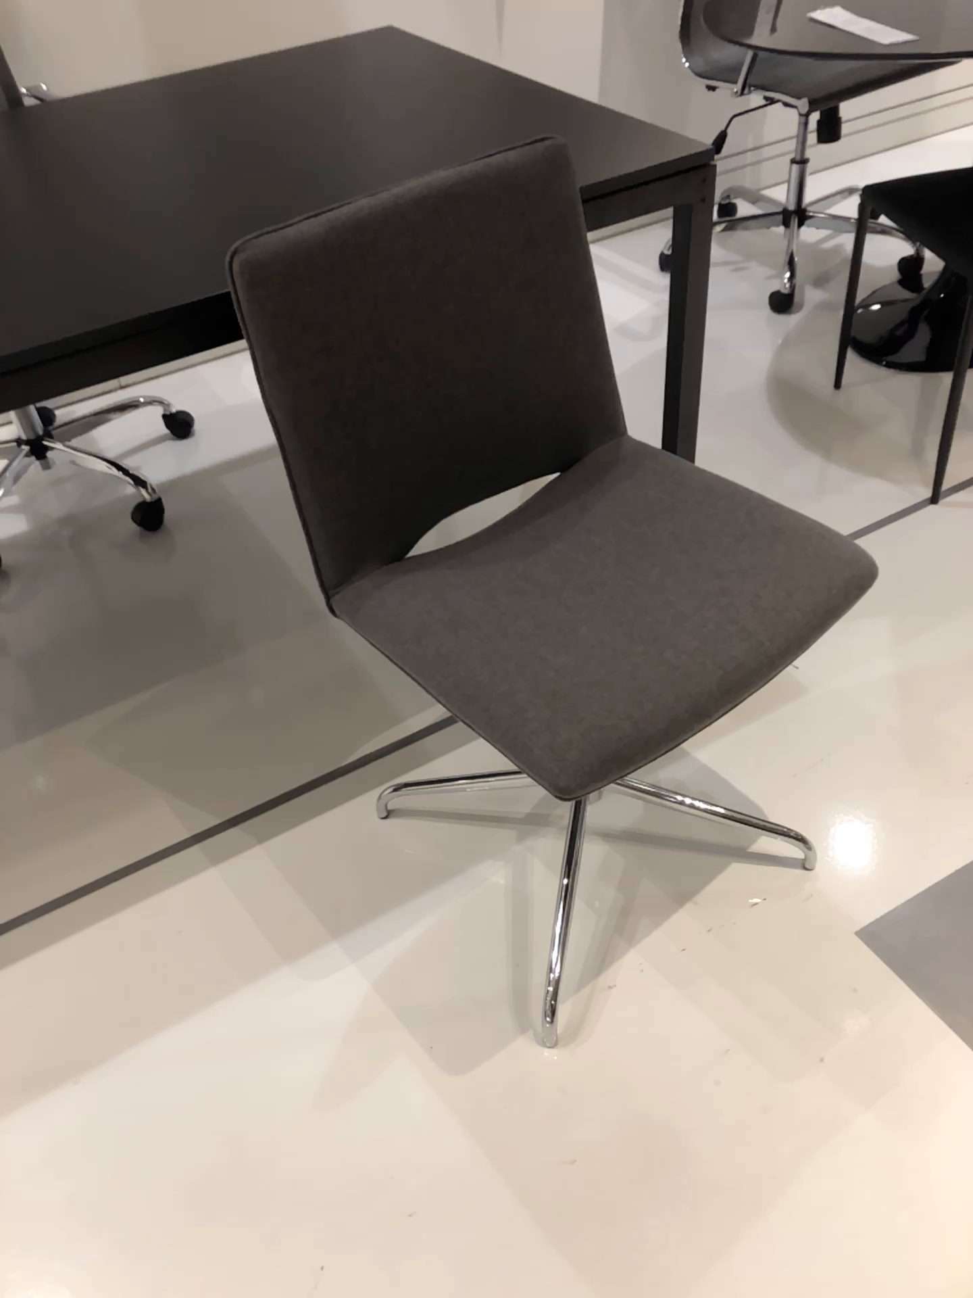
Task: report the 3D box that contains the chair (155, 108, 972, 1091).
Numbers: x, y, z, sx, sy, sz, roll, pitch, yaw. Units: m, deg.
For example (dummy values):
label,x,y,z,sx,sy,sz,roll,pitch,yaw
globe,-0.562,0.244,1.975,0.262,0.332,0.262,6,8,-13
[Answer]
label,x,y,z,sx,sy,sz,roll,pitch,yaw
chair,0.096,-0.062,1.229,0.522,0.834,0.552,-32,47,-27
